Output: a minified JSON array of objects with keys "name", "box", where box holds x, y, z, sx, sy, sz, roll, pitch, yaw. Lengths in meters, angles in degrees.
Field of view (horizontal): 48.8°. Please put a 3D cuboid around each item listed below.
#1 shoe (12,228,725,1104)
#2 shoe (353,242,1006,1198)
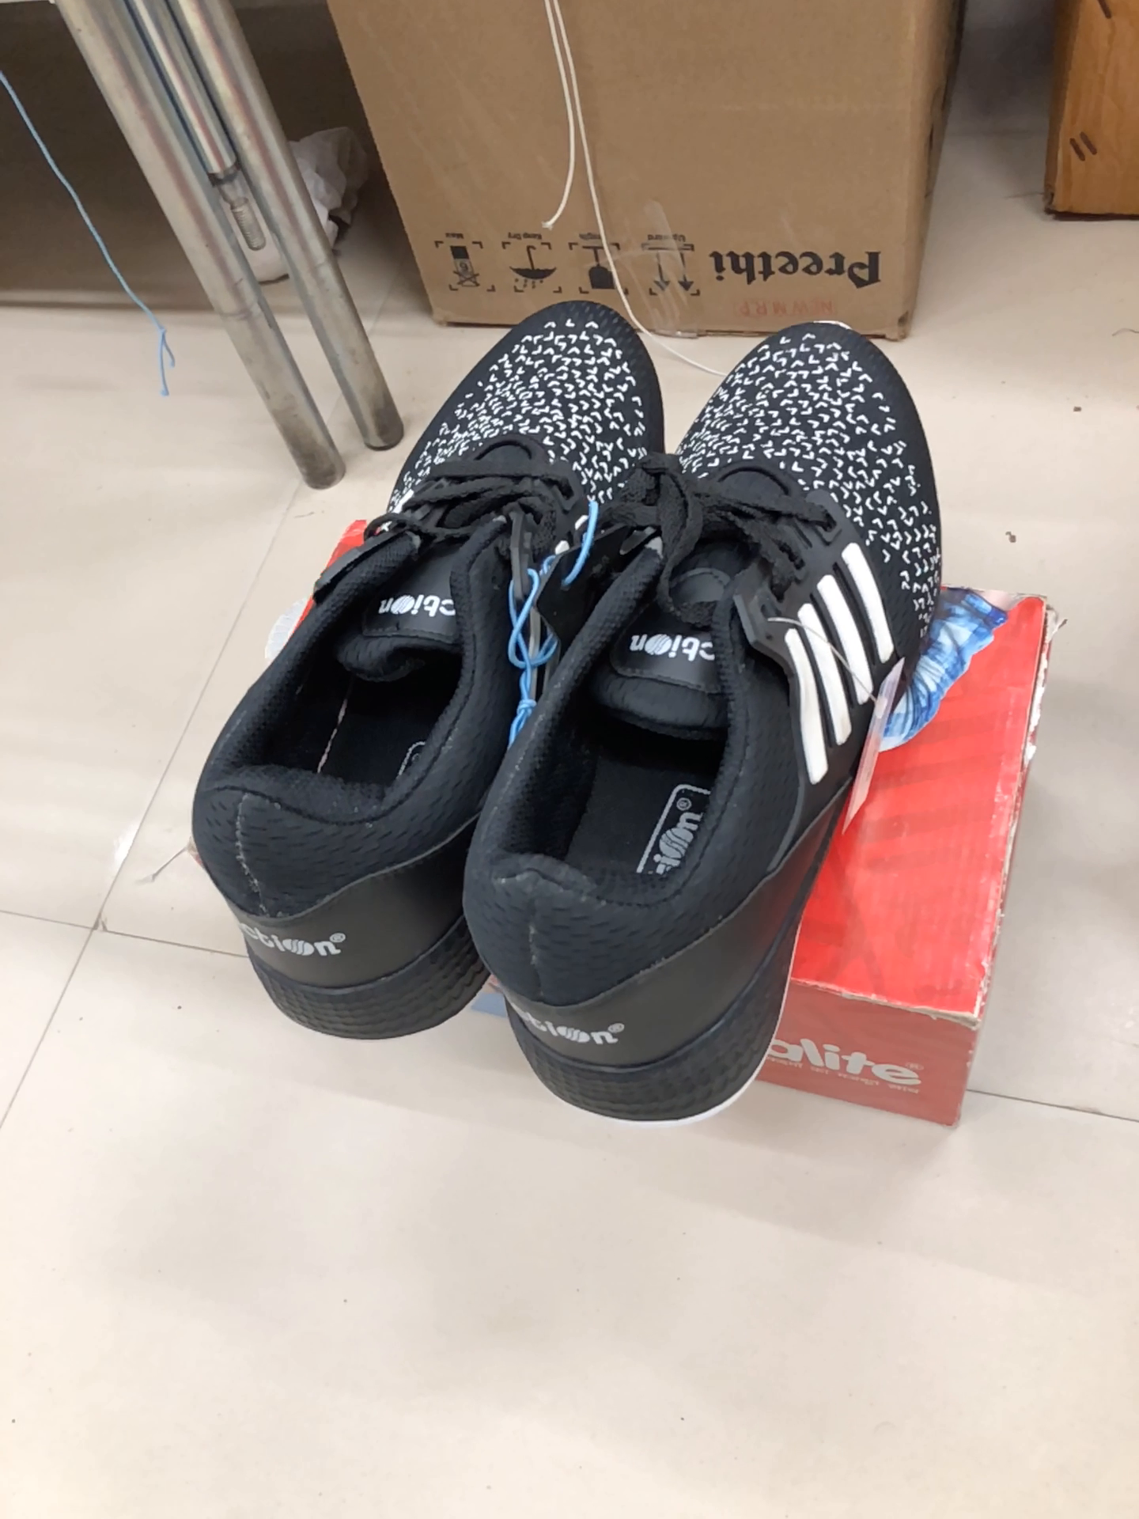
[{"name":"shoe","box":[-0.043,-0.044,0.418,0.111,0.102,0.267,11,62,19]},{"name":"shoe","box":[0.051,-0.025,0.385,0.101,0.102,0.267,12,62,20]}]
